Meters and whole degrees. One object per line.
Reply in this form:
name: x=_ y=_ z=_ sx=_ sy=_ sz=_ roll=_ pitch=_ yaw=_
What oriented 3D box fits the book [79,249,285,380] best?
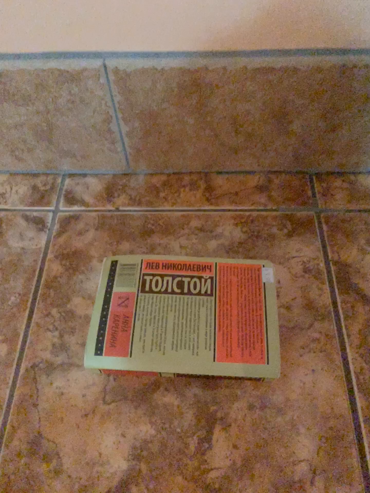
book: x=-0.001 y=0.068 z=0.388 sx=0.185 sy=0.044 sz=0.120 roll=1 pitch=60 yaw=3
